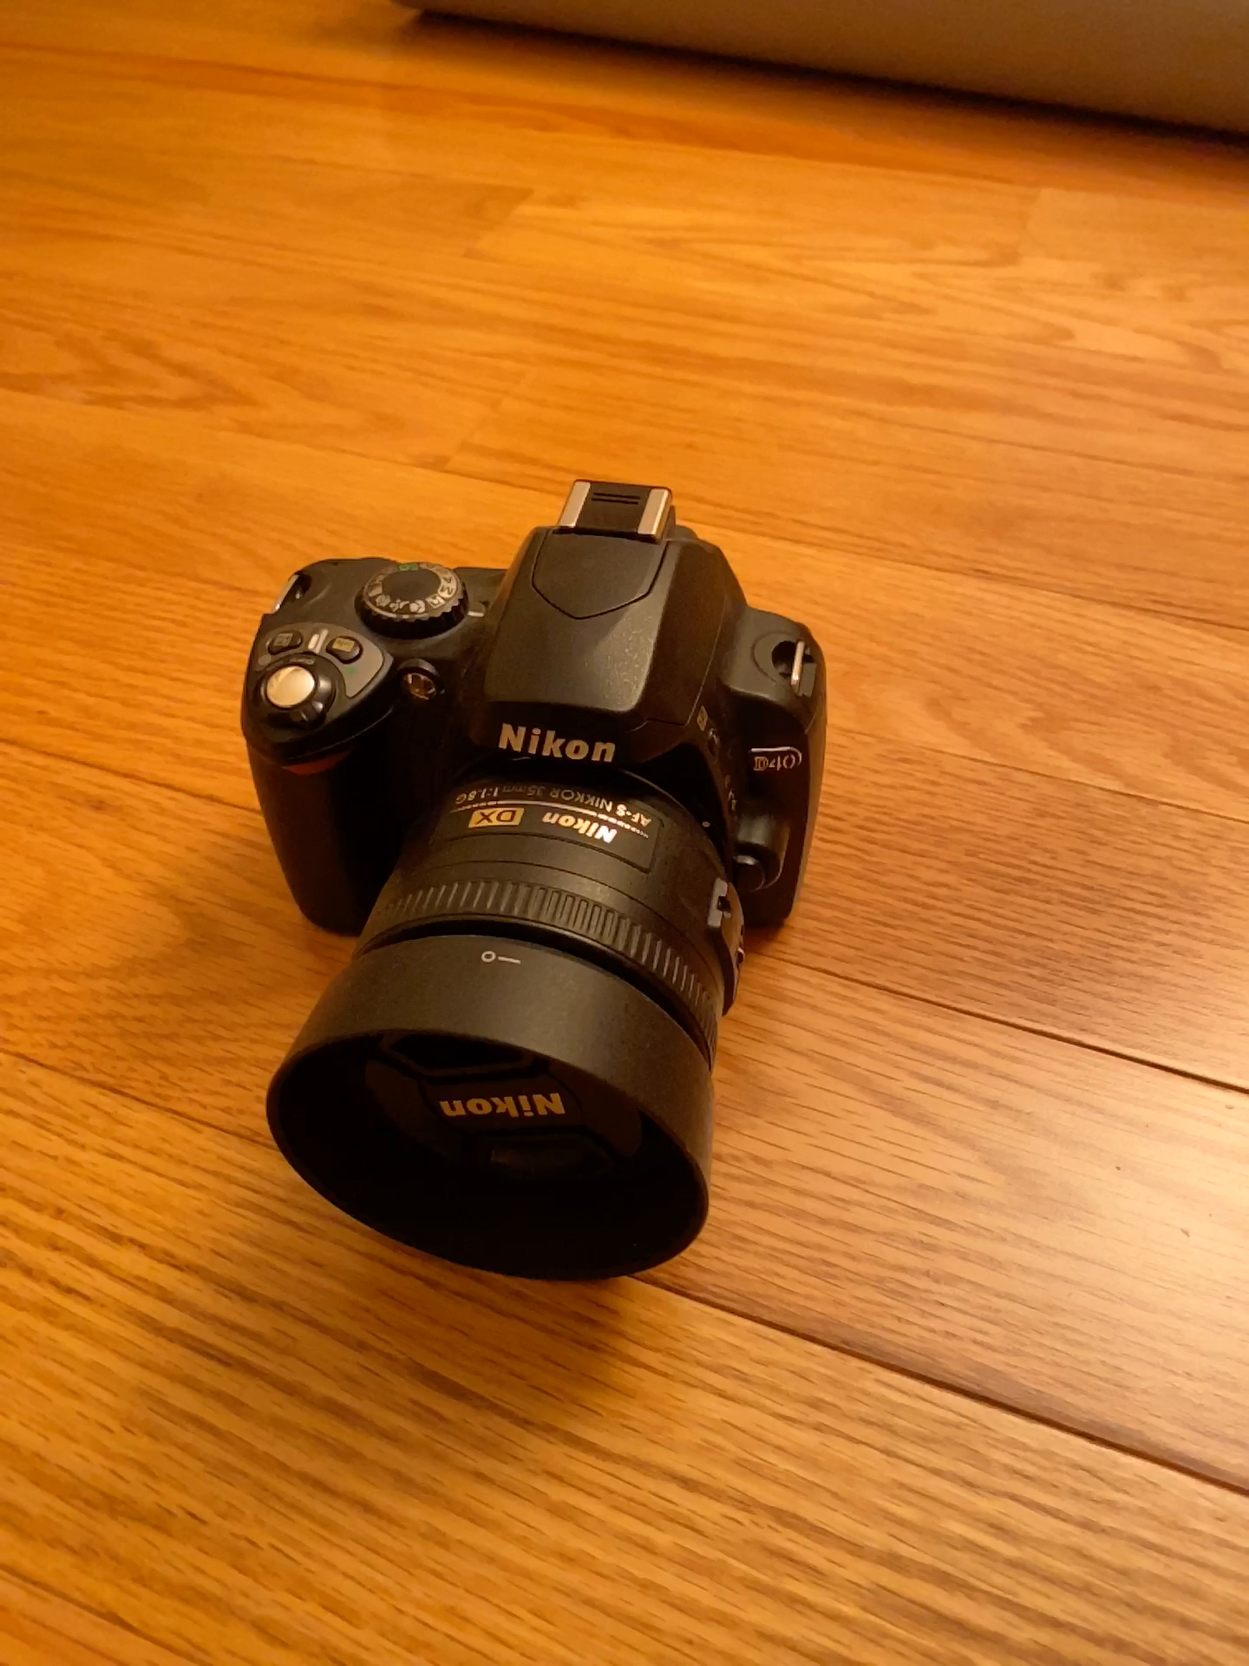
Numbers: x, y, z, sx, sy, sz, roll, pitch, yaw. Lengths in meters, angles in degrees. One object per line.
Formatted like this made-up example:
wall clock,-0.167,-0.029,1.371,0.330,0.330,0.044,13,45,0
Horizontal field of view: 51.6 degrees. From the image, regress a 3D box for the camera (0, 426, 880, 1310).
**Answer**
camera,-0.025,-0.003,0.254,0.130,0.079,0.141,8,46,9
